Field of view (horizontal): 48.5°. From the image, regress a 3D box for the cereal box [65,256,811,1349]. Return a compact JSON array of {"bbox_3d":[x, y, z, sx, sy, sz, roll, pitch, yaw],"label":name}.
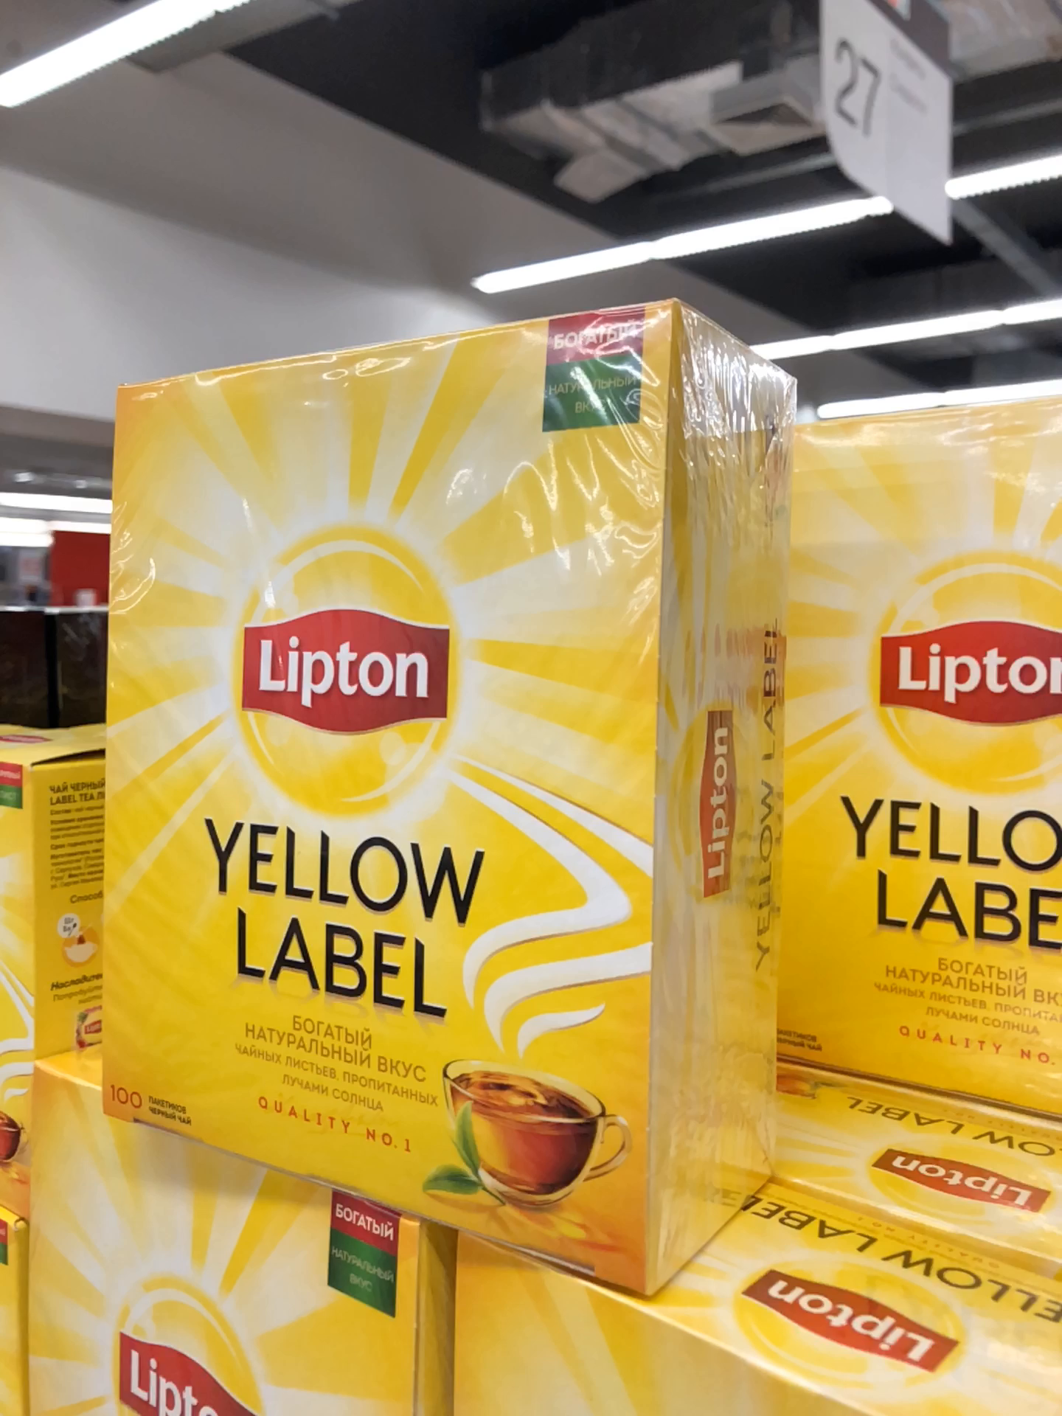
[{"bbox_3d":[-0.023,0.012,0.250,0.140,0.170,0.070,2,1,32],"label":"cereal box"}]
